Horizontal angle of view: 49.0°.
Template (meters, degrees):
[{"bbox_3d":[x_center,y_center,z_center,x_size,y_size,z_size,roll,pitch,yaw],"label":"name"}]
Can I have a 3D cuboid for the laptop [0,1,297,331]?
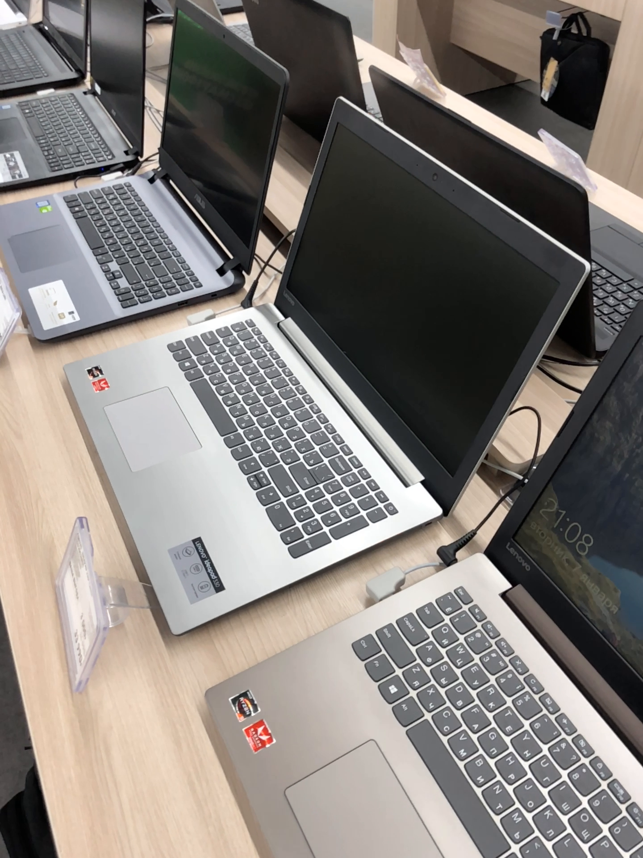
[{"bbox_3d":[-0.257,-0.344,0.884,0.318,0.232,0.328,-20,47,-18],"label":"laptop"}]

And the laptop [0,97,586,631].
[{"bbox_3d":[-0.047,-0.093,0.633,0.335,0.220,0.367,-21,47,-18],"label":"laptop"}]

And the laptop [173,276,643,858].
[{"bbox_3d":[0.143,0.161,0.363,0.326,0.222,0.358,-23,48,-20],"label":"laptop"}]
